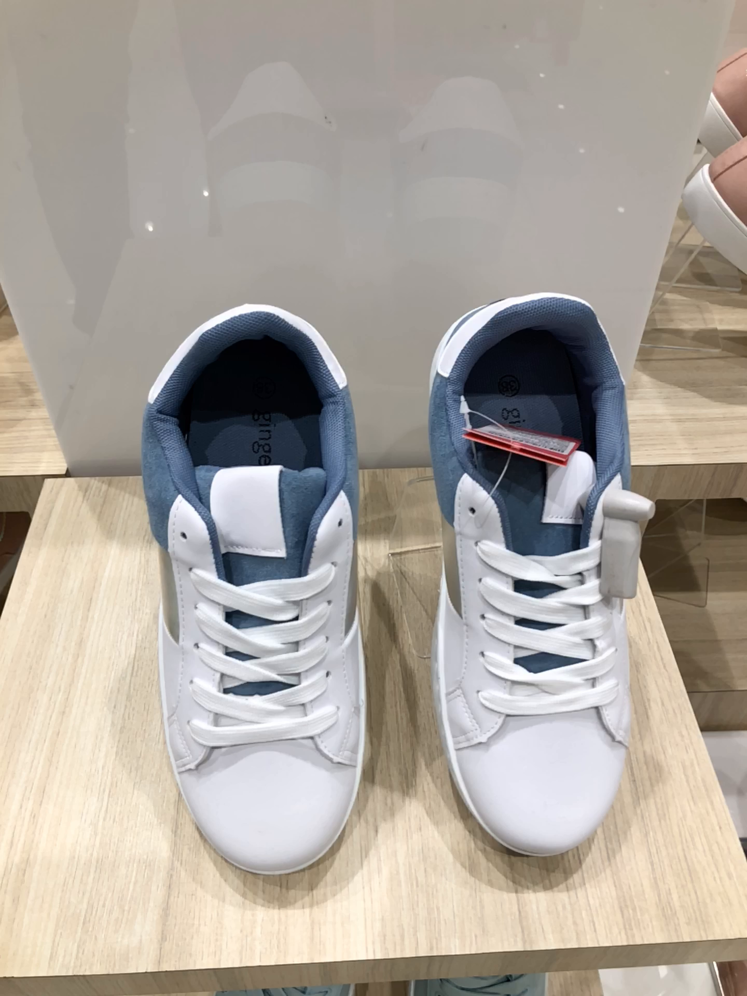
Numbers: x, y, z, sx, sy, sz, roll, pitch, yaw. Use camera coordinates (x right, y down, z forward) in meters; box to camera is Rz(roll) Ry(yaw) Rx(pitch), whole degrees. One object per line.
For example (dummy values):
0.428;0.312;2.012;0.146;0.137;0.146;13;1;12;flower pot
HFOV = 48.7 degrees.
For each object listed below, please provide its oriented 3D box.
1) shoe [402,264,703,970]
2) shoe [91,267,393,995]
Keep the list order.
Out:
0.070;0.043;0.359;0.102;0.263;0.104;-1;4;-2;shoe
-0.050;0.047;0.350;0.092;0.261;0.104;-4;3;-4;shoe
